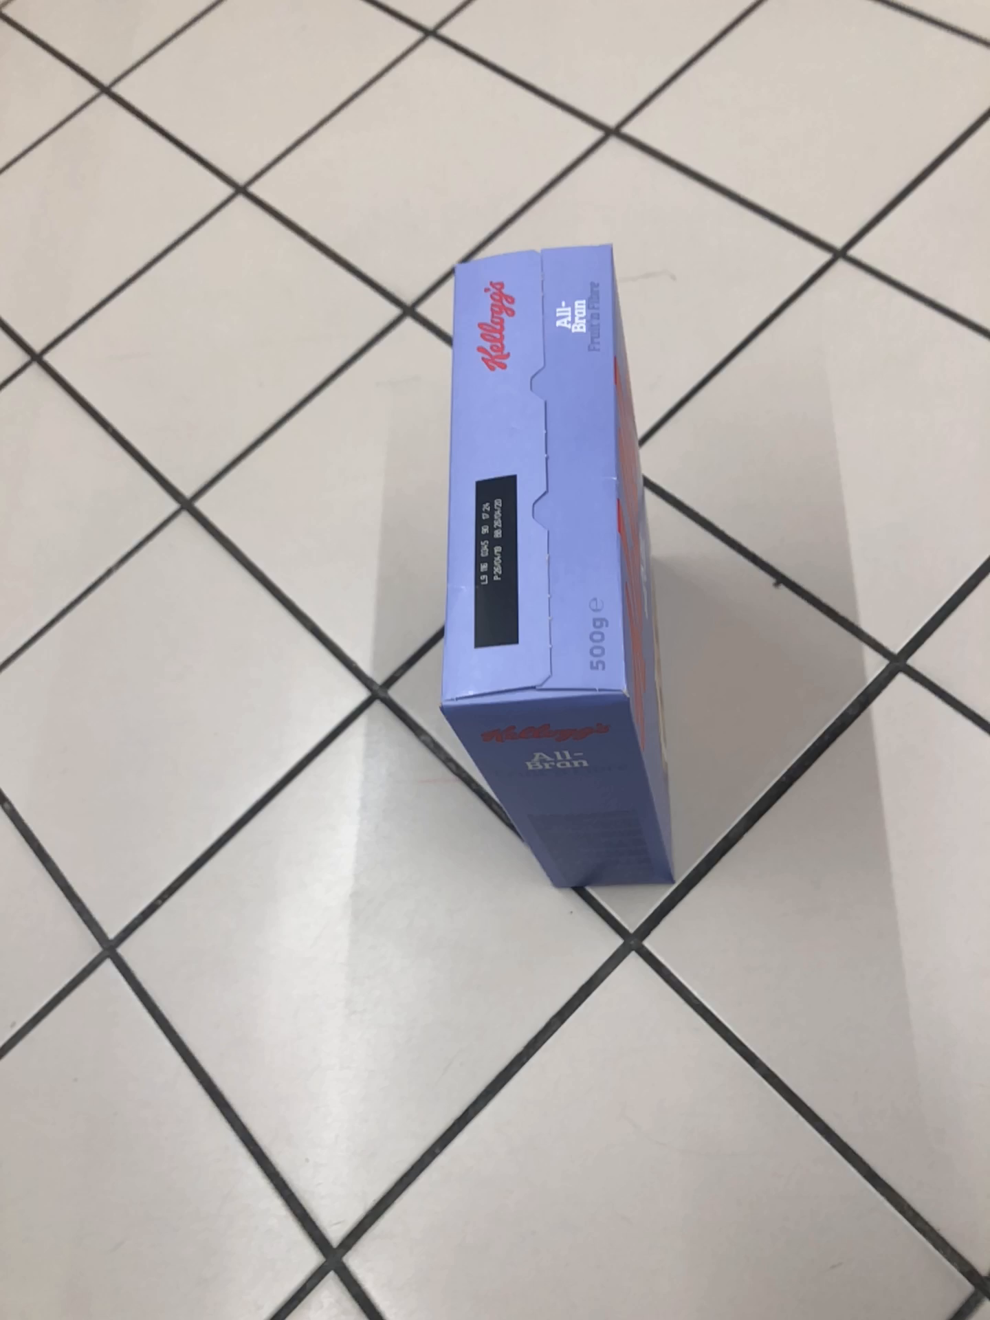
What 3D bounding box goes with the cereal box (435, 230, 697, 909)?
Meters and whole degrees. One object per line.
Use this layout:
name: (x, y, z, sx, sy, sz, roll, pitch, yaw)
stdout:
cereal box: (0.041, -0.018, 0.481, 0.070, 0.239, 0.201, -5, 64, 11)
